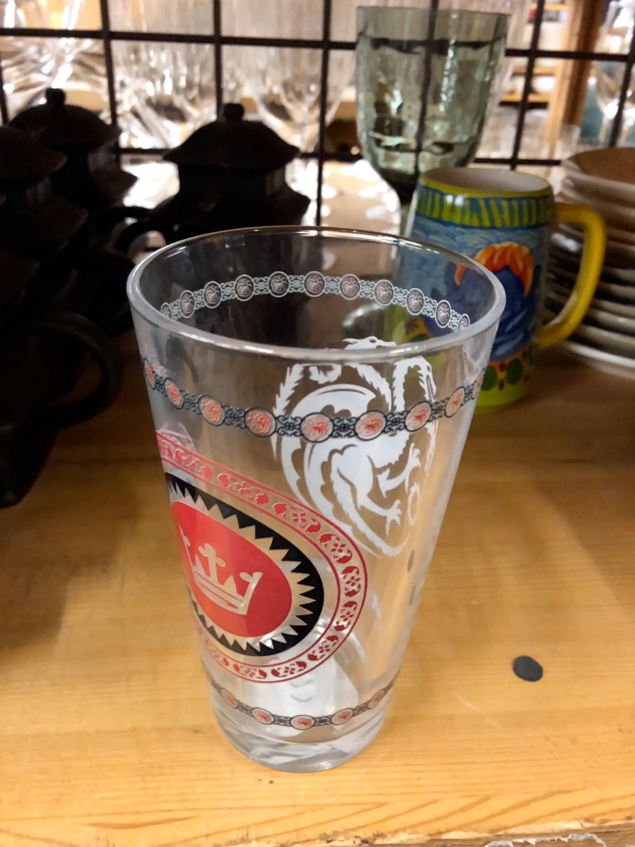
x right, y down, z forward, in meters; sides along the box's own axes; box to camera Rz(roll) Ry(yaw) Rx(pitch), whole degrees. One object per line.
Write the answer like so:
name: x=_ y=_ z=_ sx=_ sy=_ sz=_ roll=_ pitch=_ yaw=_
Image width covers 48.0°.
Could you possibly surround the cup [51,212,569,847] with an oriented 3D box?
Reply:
cup: x=-0.002 y=0.023 z=0.197 sx=0.085 sy=0.132 sz=0.084 roll=2 pitch=30 yaw=-1
